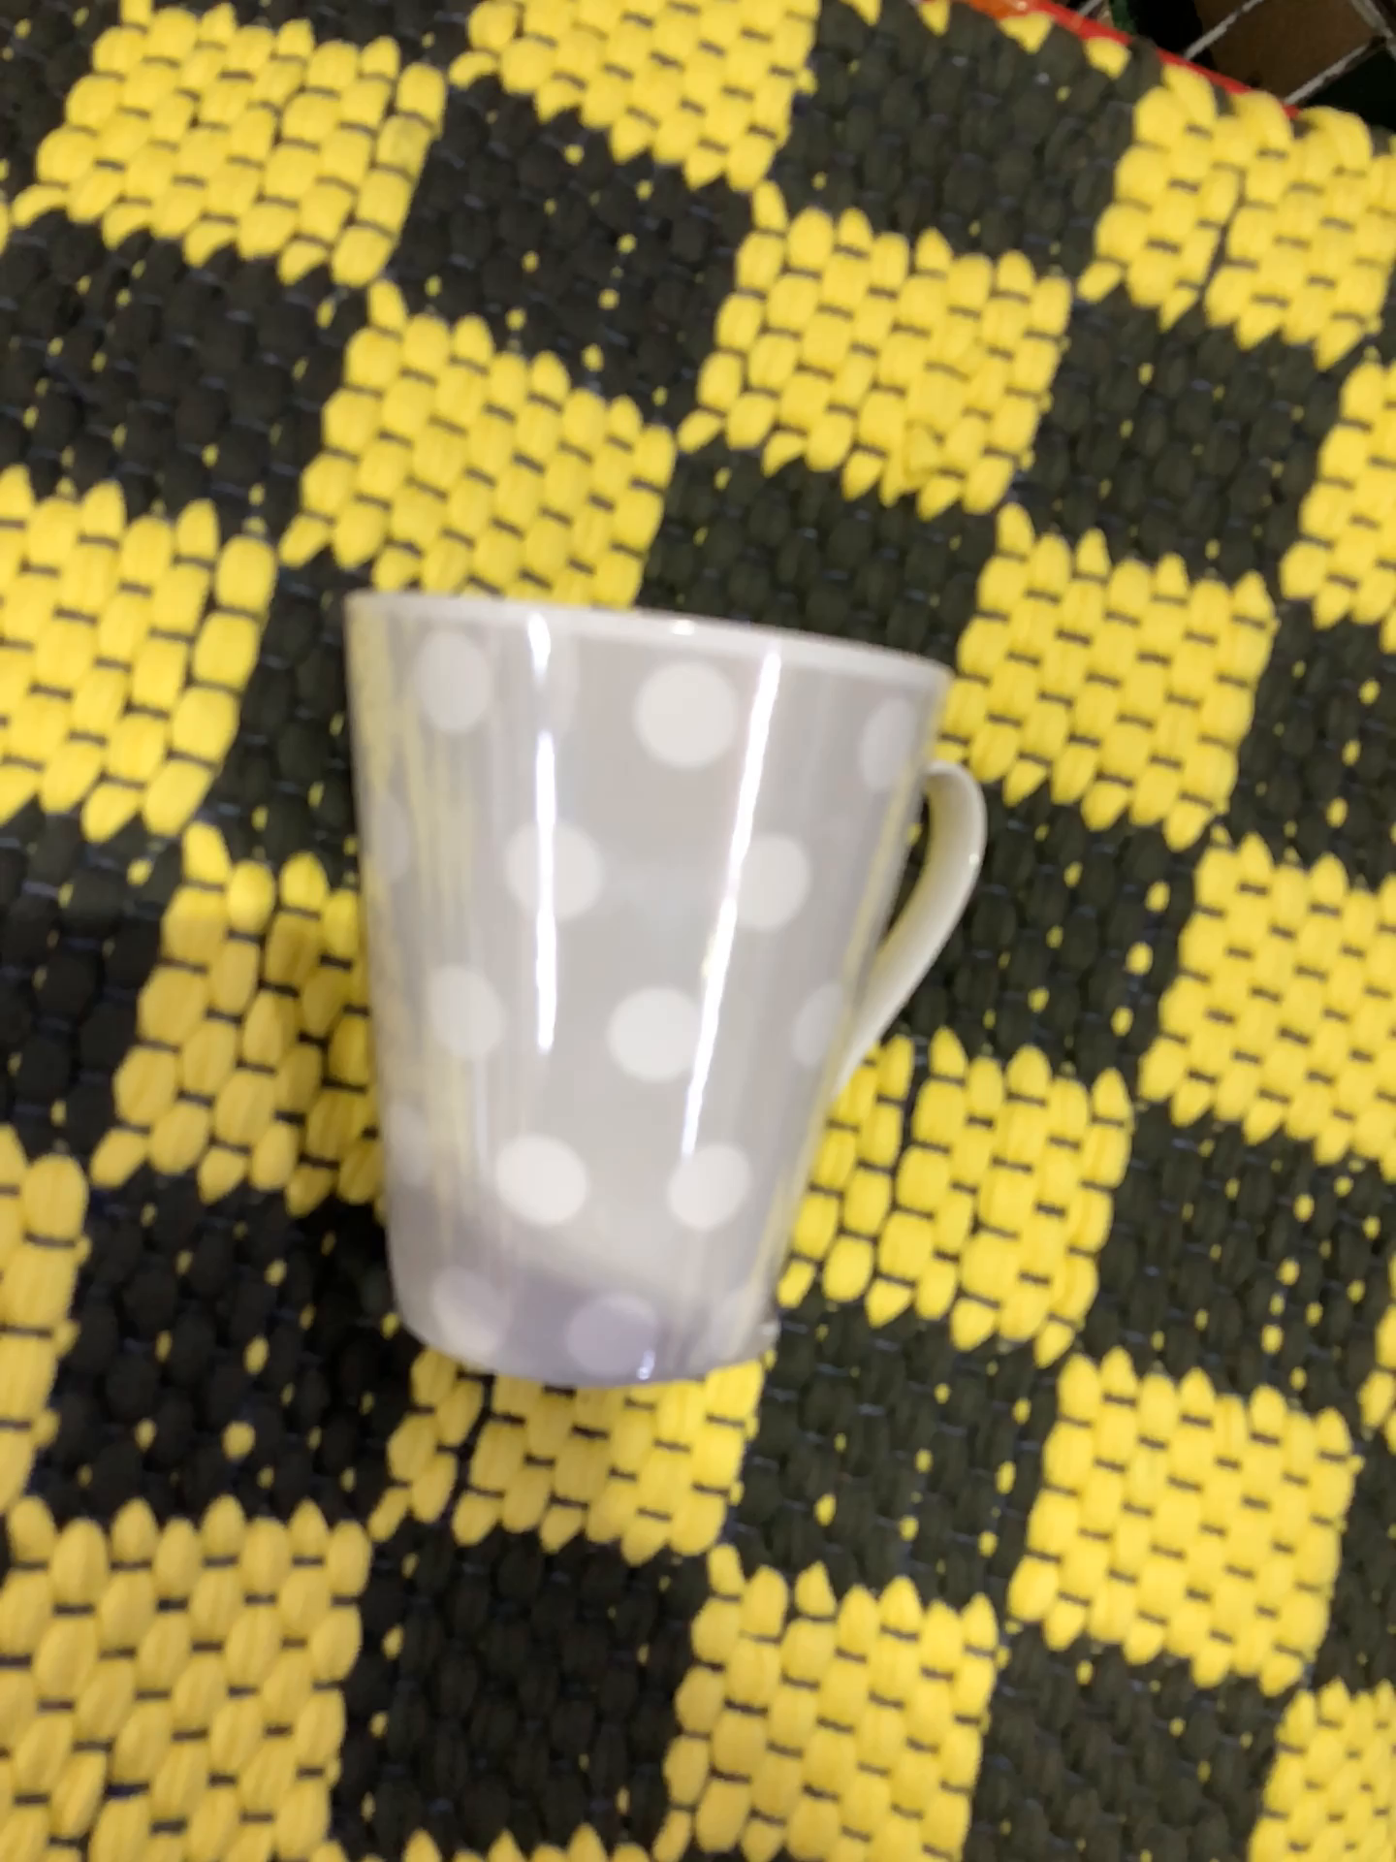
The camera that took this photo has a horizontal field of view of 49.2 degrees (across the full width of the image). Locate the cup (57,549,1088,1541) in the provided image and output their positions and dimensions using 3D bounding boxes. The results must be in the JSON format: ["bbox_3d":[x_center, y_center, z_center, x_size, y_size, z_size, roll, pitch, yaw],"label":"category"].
[{"bbox_3d":[-0.011,0.006,0.229,0.120,0.090,0.100,-3,102,-58],"label":"cup"}]
